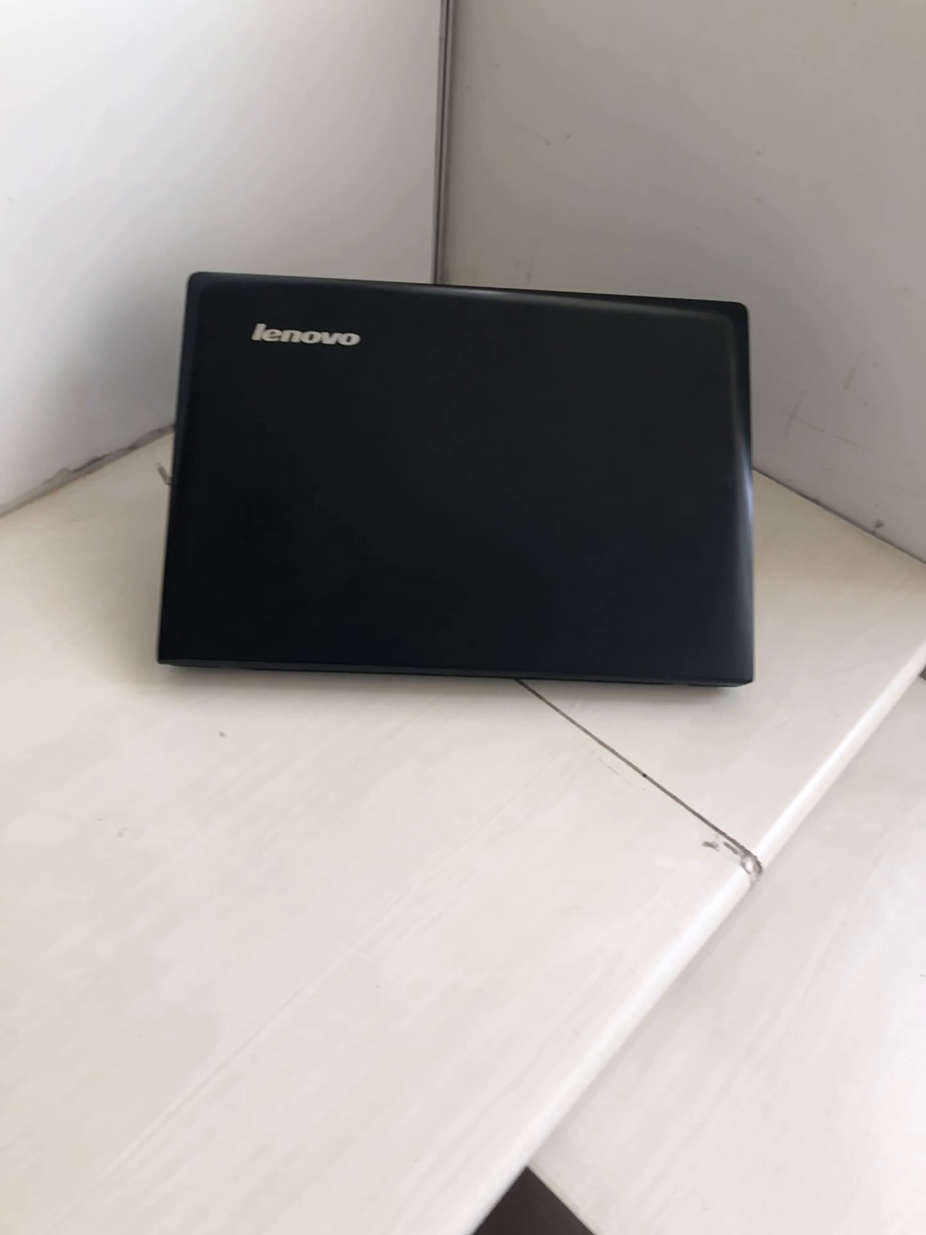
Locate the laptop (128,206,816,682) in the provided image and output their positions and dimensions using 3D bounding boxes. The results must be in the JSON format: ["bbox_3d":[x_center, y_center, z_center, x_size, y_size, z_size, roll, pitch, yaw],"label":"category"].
[{"bbox_3d":[0.005,-0.120,0.689,0.374,0.161,0.254,3,50,-3],"label":"laptop"}]
